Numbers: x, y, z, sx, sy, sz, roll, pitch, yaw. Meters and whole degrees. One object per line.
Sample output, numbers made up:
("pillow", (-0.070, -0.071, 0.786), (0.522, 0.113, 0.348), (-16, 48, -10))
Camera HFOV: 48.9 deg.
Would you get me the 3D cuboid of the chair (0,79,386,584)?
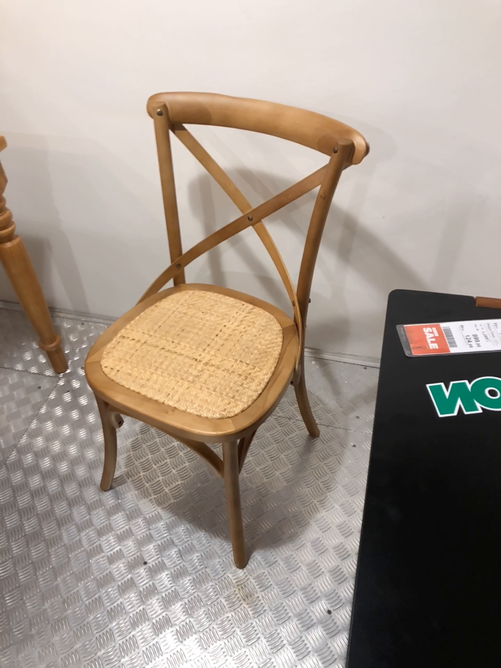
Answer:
("chair", (-0.089, 0.011, 1.233), (0.501, 0.874, 0.543), (22, 49, 24))
